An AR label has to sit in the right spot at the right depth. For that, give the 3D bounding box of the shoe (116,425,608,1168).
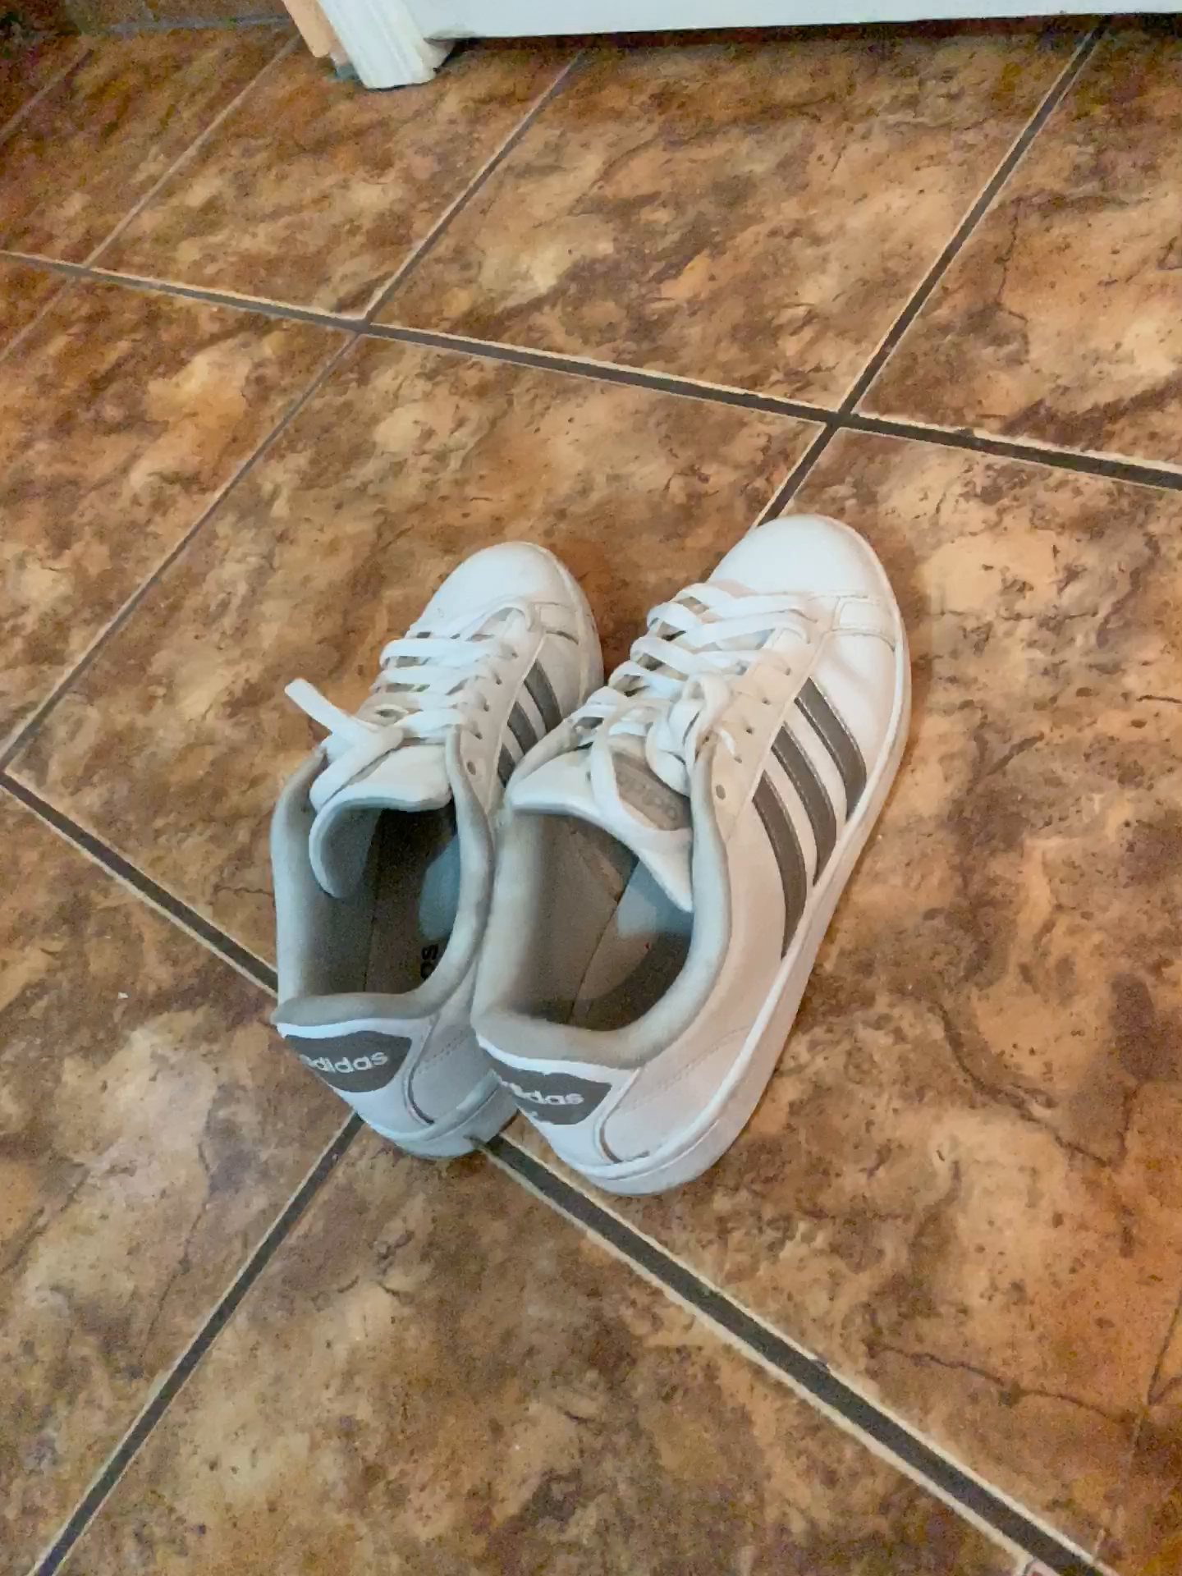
[{"bbox_3d":[-0.070,0.000,0.462,0.101,0.104,0.257,-9,55,22],"label":"shoe"}]

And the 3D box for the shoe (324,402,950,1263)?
[{"bbox_3d":[0.032,0.004,0.407,0.102,0.104,0.256,8,63,31],"label":"shoe"}]
